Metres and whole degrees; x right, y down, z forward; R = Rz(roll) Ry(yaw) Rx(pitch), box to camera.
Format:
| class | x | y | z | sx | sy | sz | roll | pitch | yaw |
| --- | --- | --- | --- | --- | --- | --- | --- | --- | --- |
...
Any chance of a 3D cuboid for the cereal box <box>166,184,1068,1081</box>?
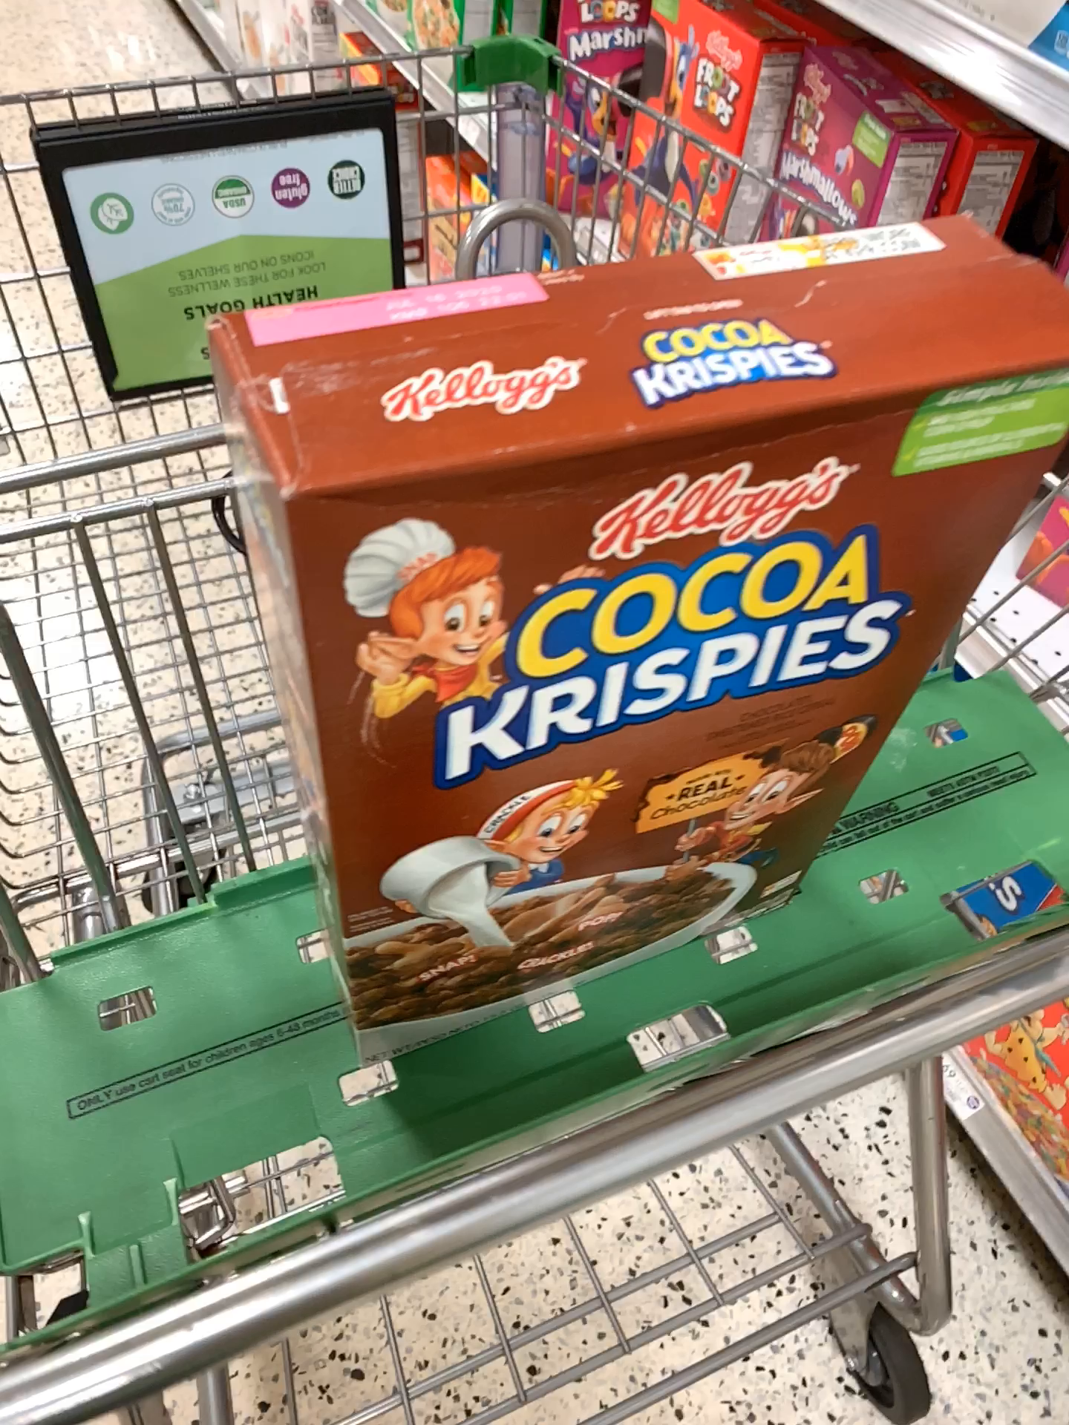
| class | x | y | z | sx | sy | sz | roll | pitch | yaw |
| --- | --- | --- | --- | --- | --- | --- | --- | --- | --- |
| cereal box | 0.019 | 0.007 | 0.354 | 0.200 | 0.307 | 0.060 | -15 | 57 | -16 |
